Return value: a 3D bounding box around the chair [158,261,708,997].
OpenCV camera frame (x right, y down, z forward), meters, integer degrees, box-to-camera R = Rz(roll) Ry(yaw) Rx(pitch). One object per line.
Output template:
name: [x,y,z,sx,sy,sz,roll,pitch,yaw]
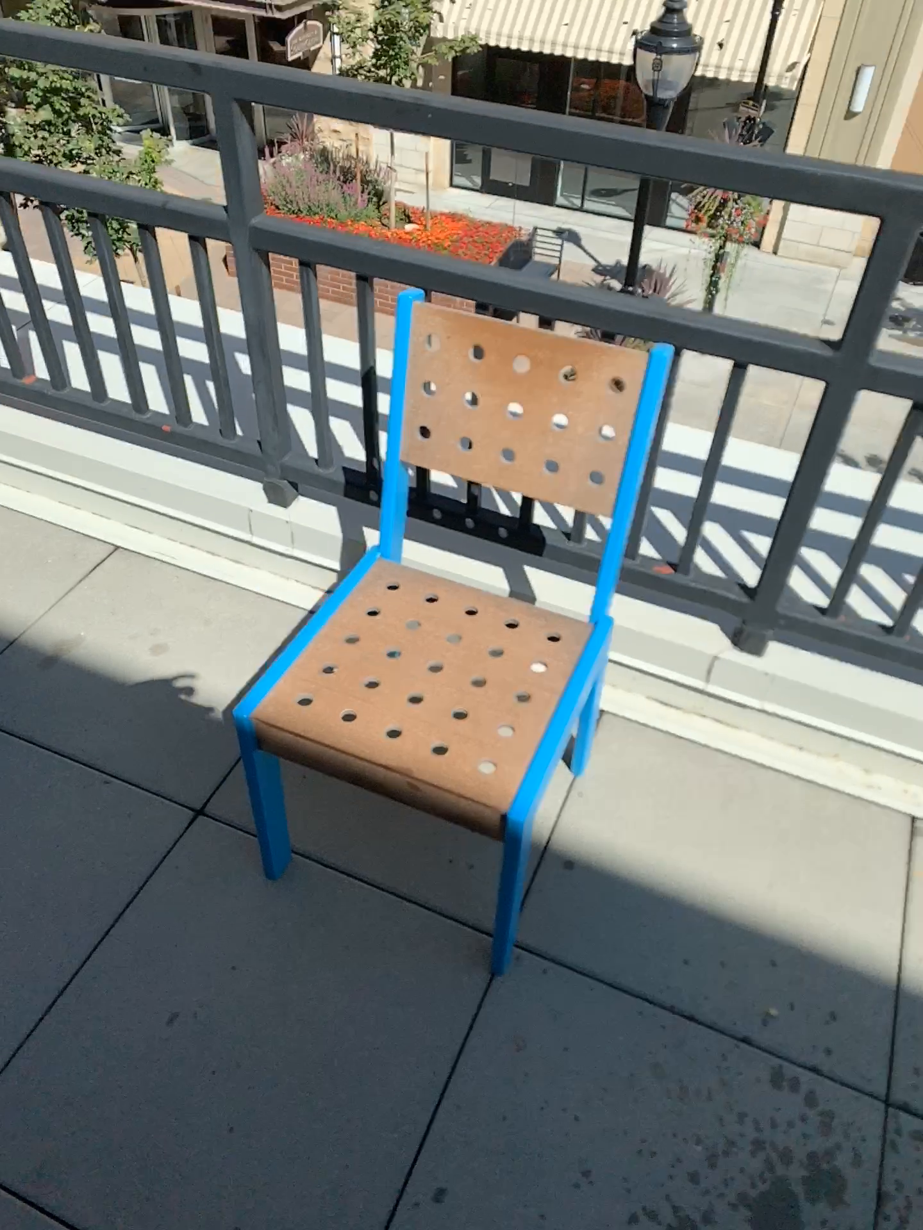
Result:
chair: [-0.002,0.023,1.494,0.470,0.856,0.672,18,45,16]
